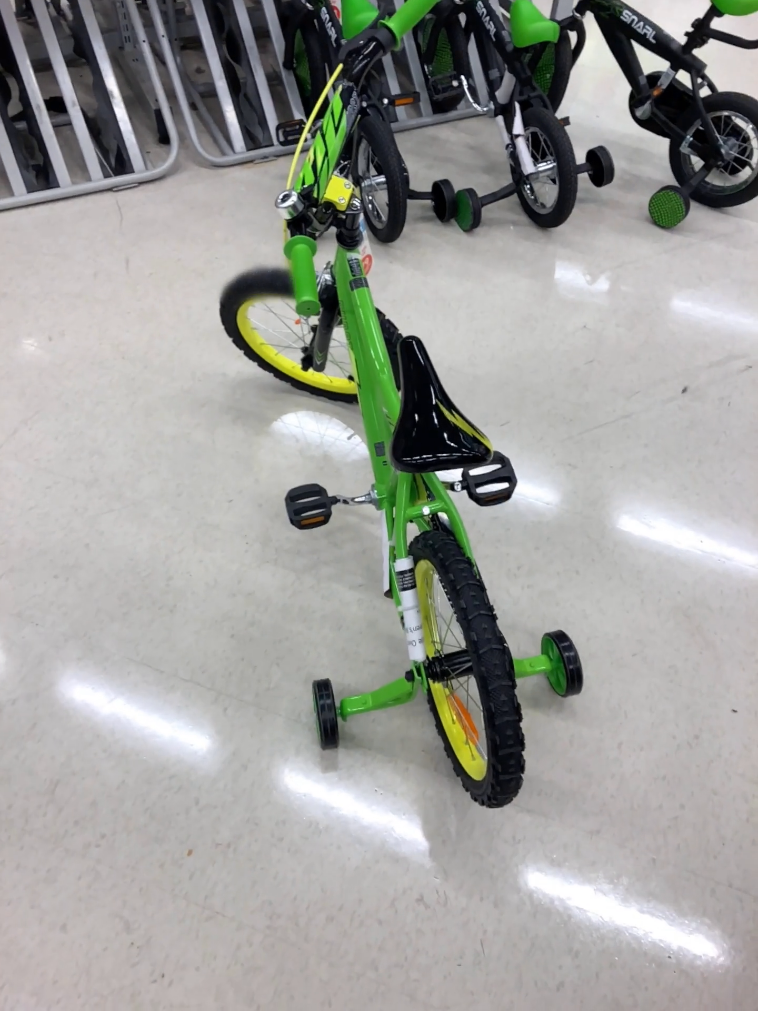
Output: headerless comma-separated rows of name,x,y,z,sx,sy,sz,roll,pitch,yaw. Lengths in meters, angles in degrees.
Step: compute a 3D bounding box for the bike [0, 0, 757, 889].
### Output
bike,-0.065,-0.177,1.160,0.552,0.807,1.048,-20,61,-17
